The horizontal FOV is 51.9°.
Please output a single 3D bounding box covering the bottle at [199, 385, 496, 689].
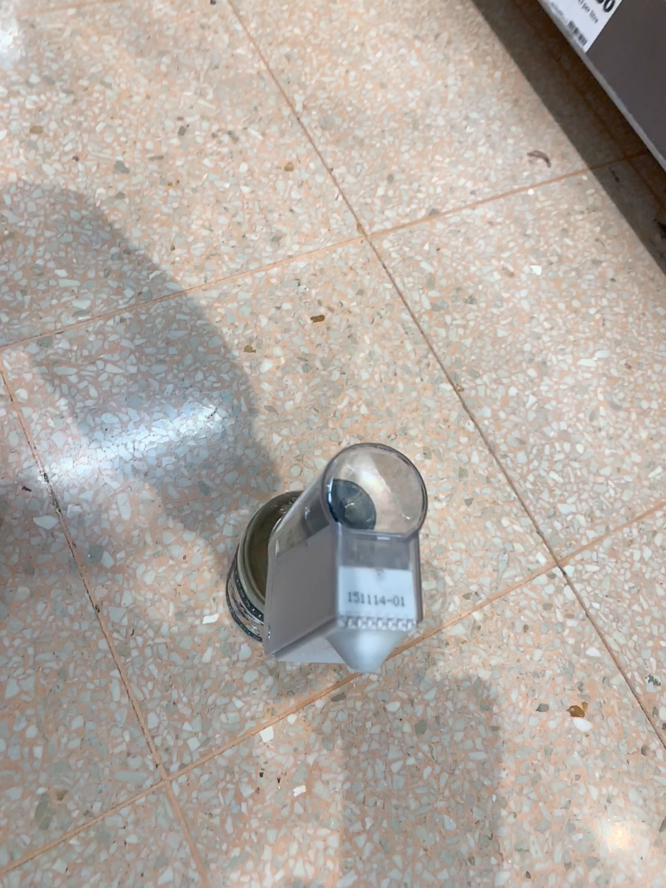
[{"bbox_3d":[-0.014,0.063,0.335,0.069,0.223,0.074,4,68,-11],"label":"bottle"}]
